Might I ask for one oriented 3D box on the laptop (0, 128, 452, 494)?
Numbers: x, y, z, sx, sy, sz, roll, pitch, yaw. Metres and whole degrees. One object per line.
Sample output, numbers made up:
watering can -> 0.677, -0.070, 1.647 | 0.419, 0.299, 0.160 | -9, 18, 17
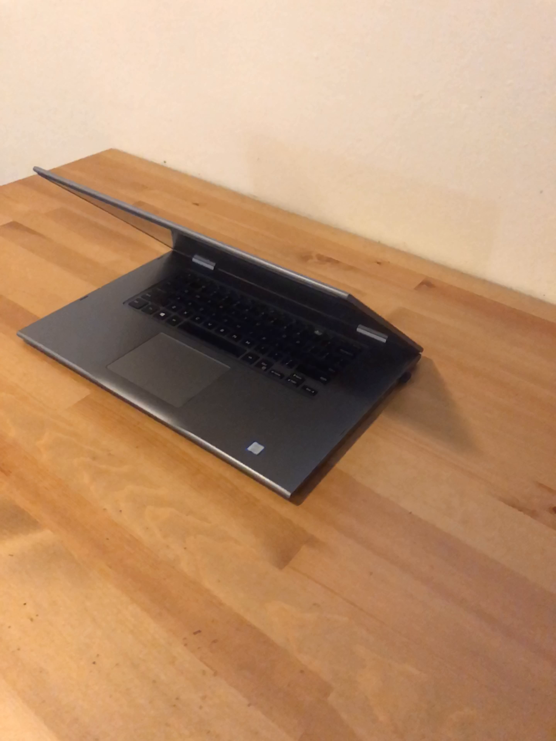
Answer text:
laptop -> -0.065, -0.093, 0.626 | 0.375, 0.165, 0.247 | 25, 45, 26
